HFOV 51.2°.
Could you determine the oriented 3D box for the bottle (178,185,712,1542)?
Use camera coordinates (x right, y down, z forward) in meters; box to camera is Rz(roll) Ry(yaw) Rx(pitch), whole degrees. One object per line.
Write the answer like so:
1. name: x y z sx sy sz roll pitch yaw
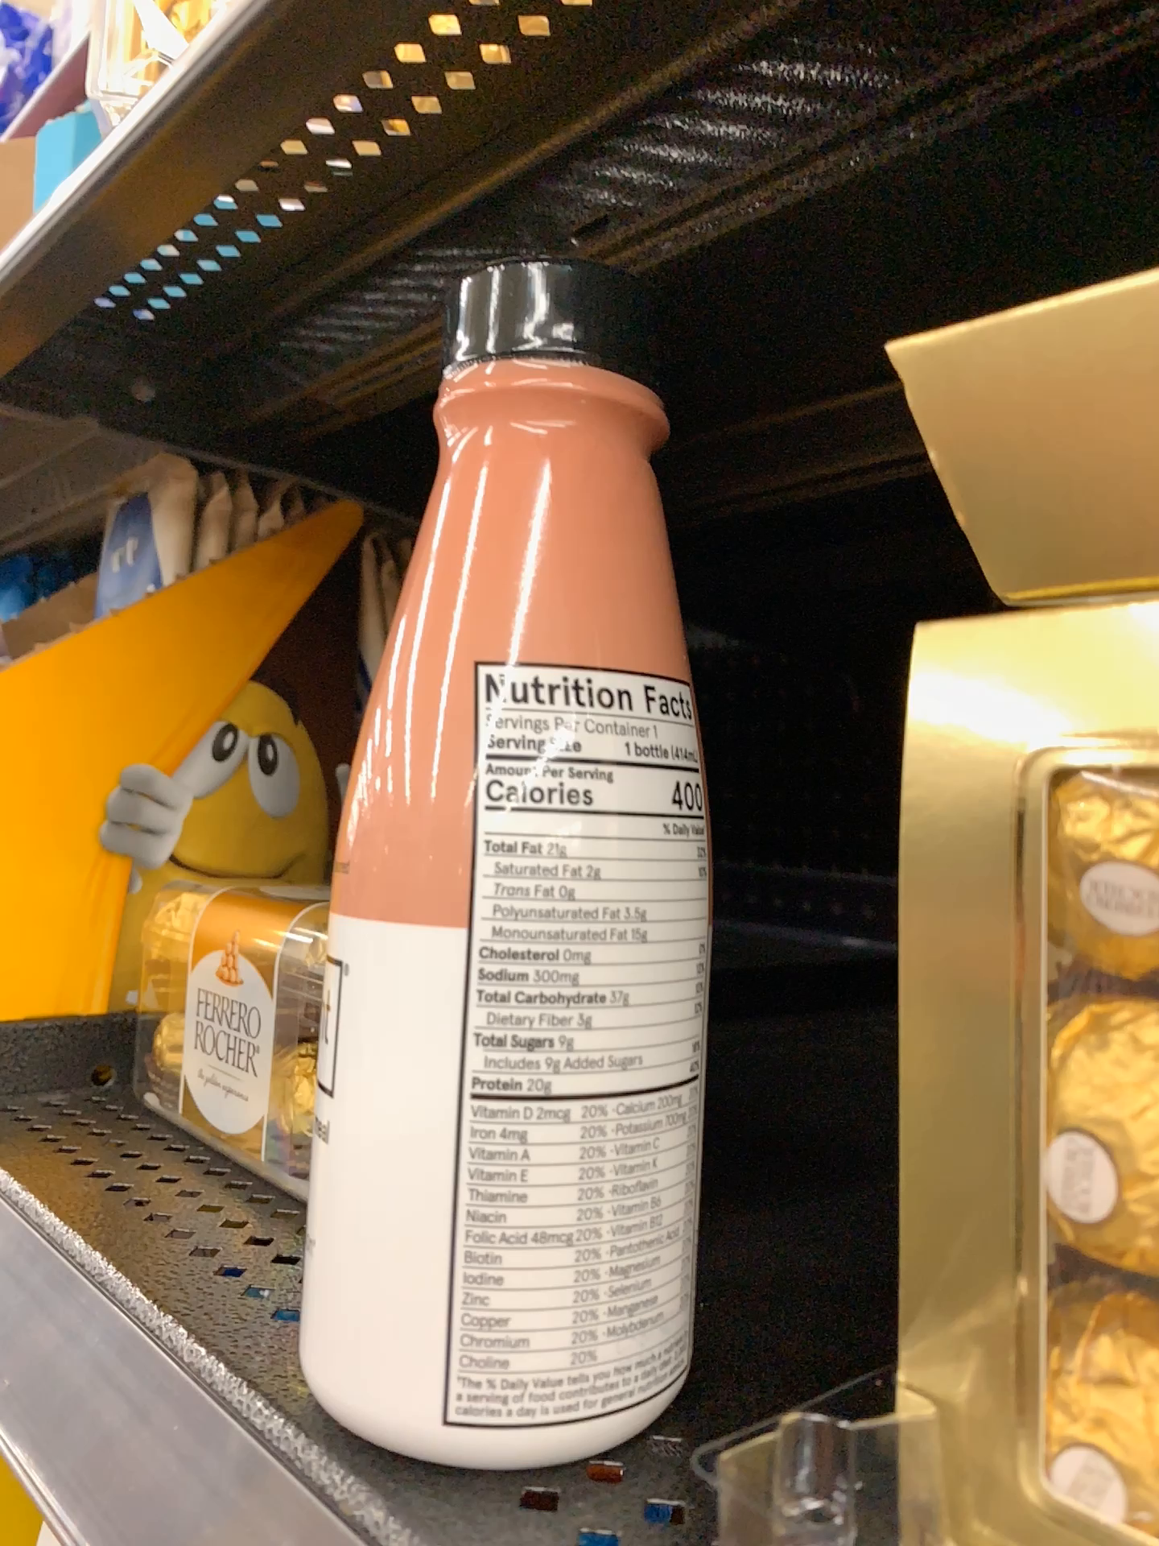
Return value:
1. bottle: -0.015 0.011 0.214 0.070 0.190 0.080 2 -1 8
